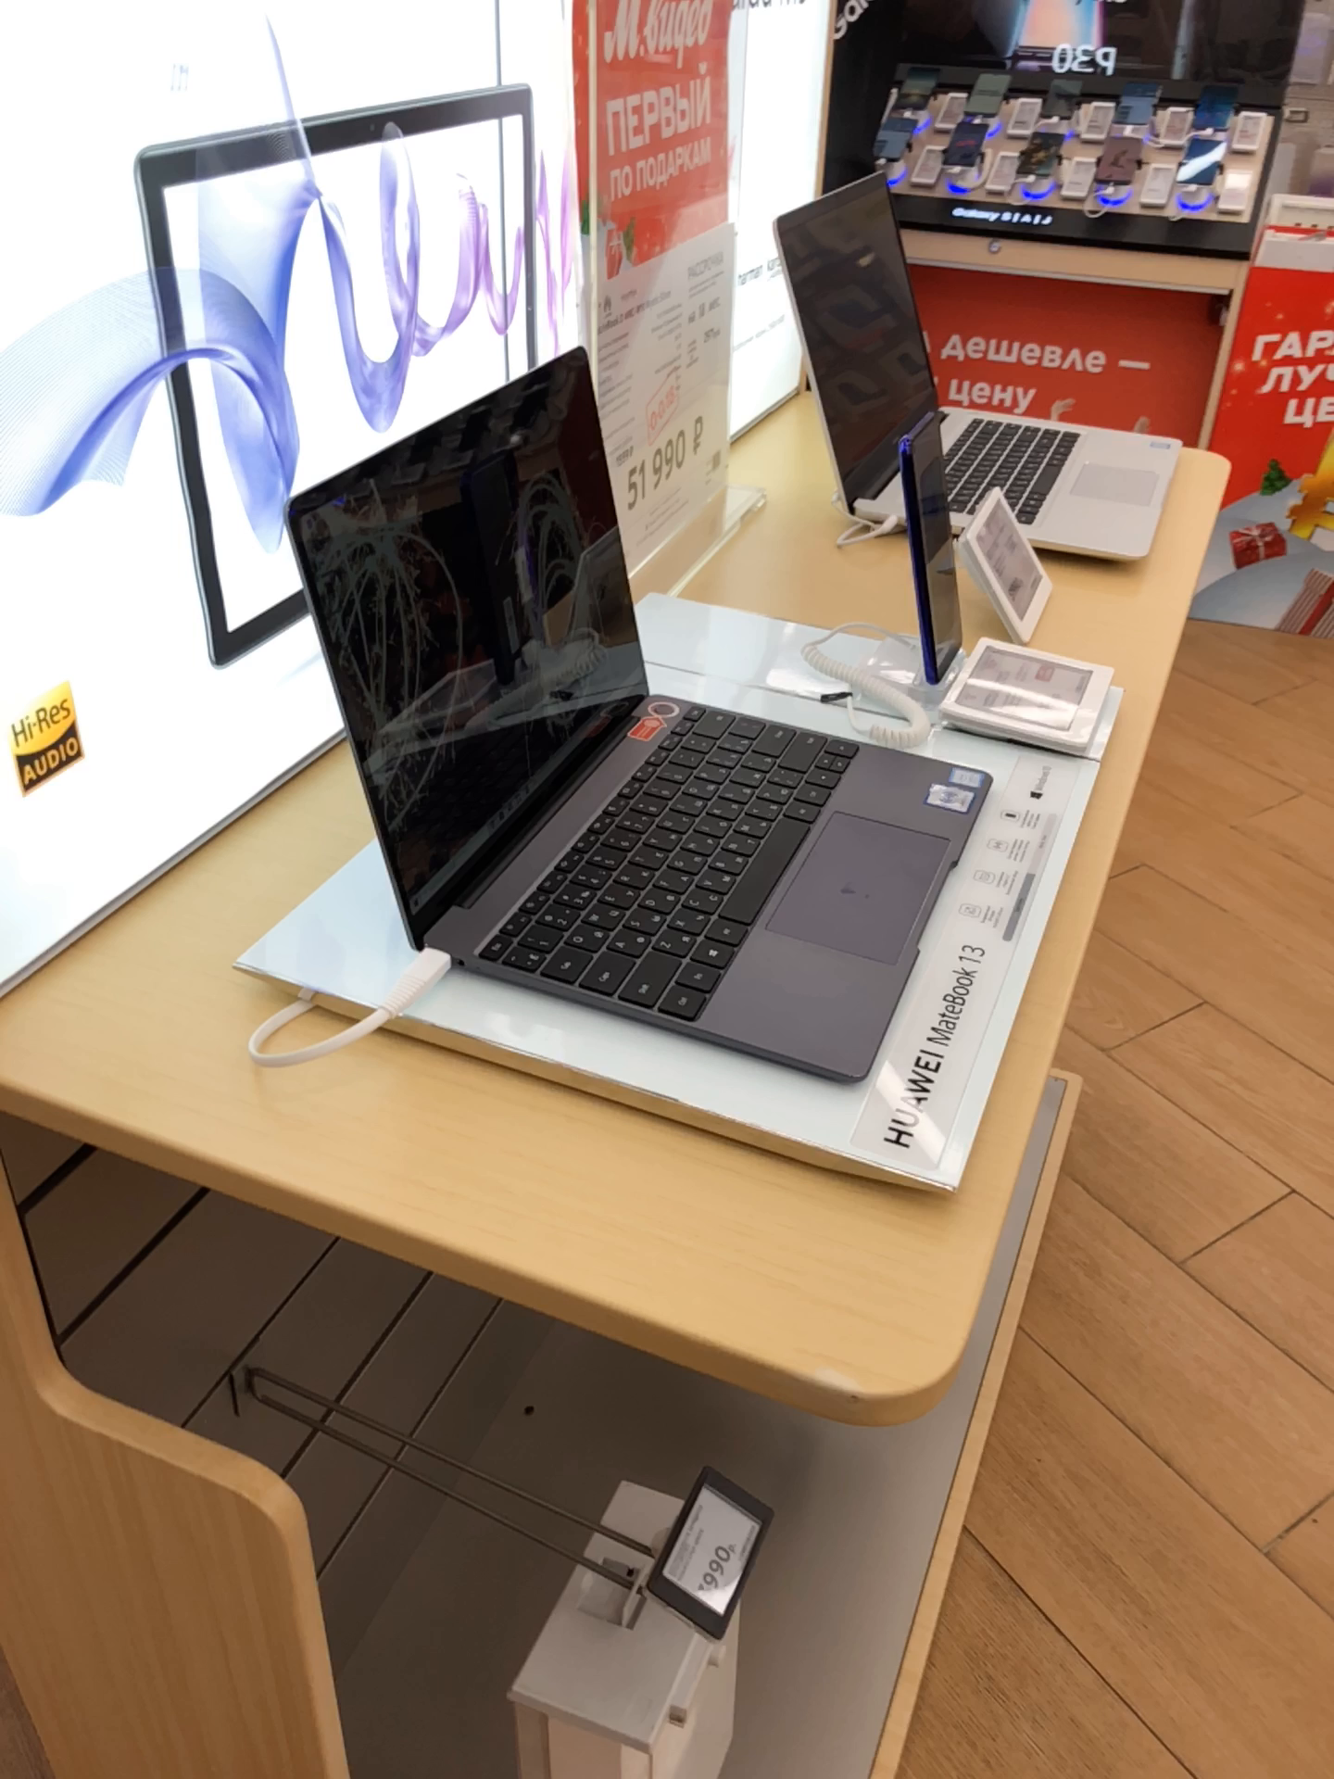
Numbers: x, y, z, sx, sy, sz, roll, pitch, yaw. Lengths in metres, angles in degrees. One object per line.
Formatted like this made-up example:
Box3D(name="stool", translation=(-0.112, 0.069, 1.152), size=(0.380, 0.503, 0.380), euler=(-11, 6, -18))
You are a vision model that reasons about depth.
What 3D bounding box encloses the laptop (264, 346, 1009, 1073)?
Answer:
Box3D(name="laptop", translation=(0.003, -0.108, 0.693), size=(0.244, 0.192, 0.276), euler=(16, 35, 17))
